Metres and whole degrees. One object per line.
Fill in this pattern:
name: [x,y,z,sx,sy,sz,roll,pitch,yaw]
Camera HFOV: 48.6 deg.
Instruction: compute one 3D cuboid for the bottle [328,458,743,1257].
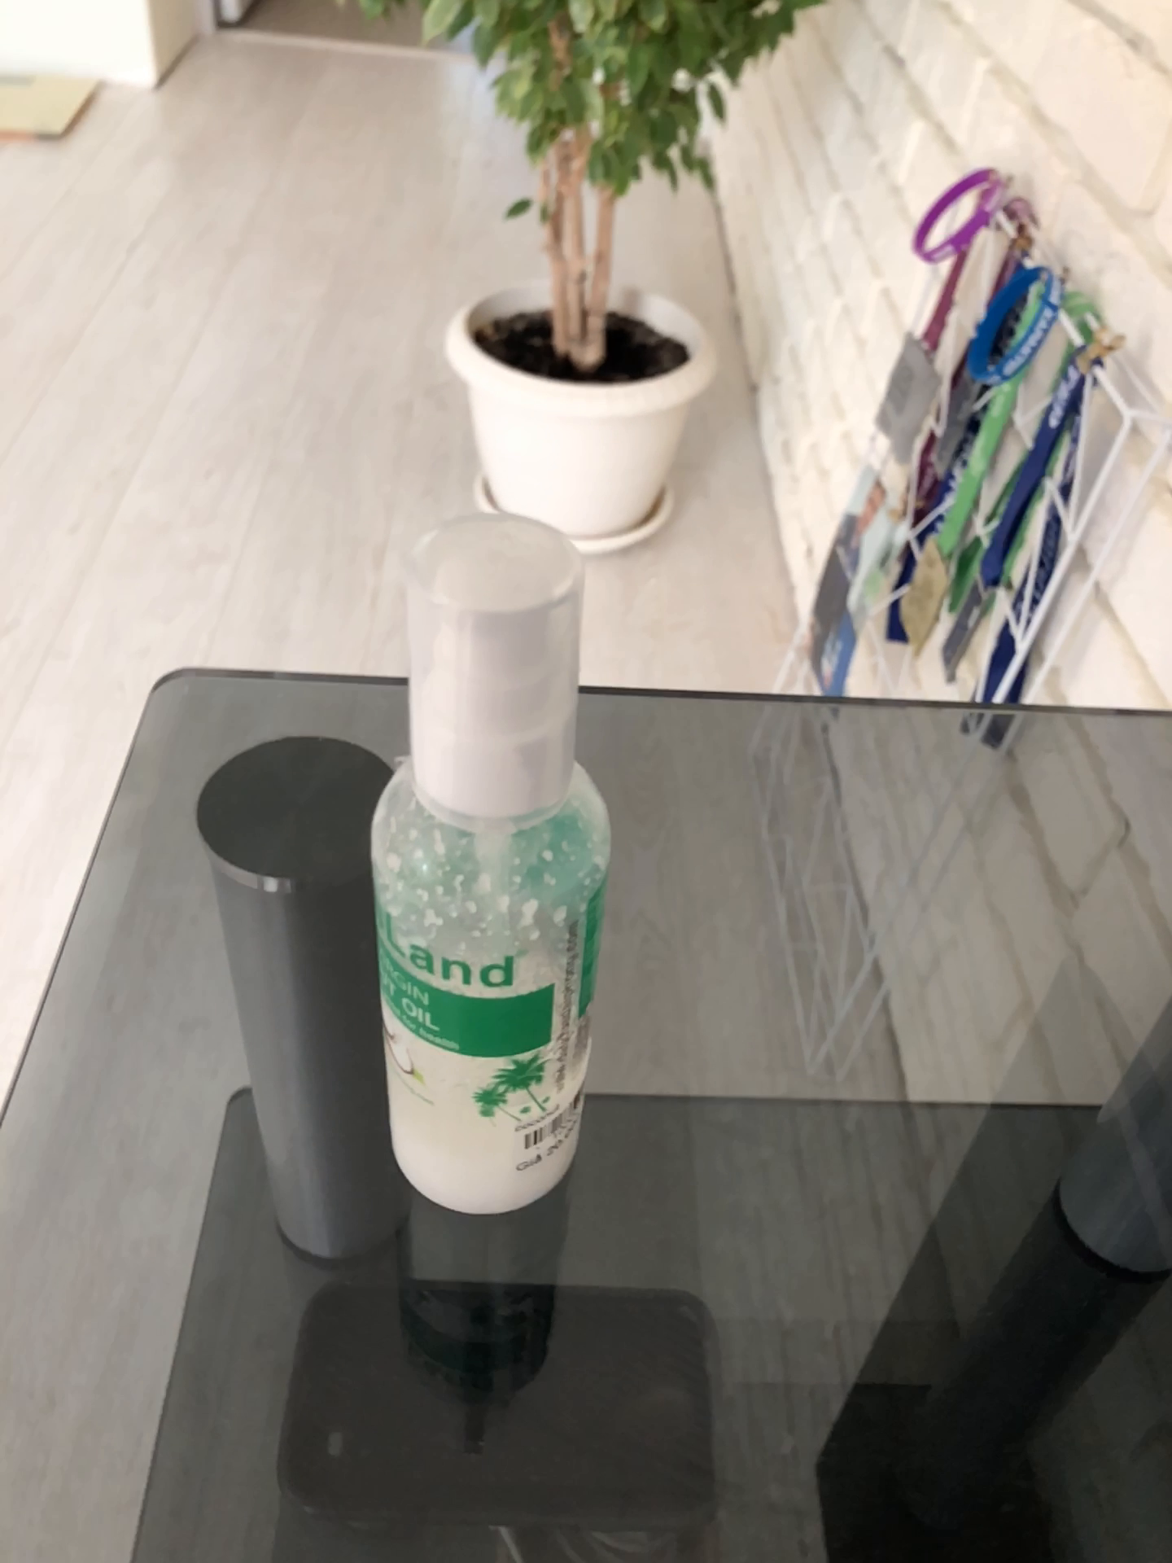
bottle: [-0.010,0.022,0.225,0.050,0.139,0.050,3,43,-3]
